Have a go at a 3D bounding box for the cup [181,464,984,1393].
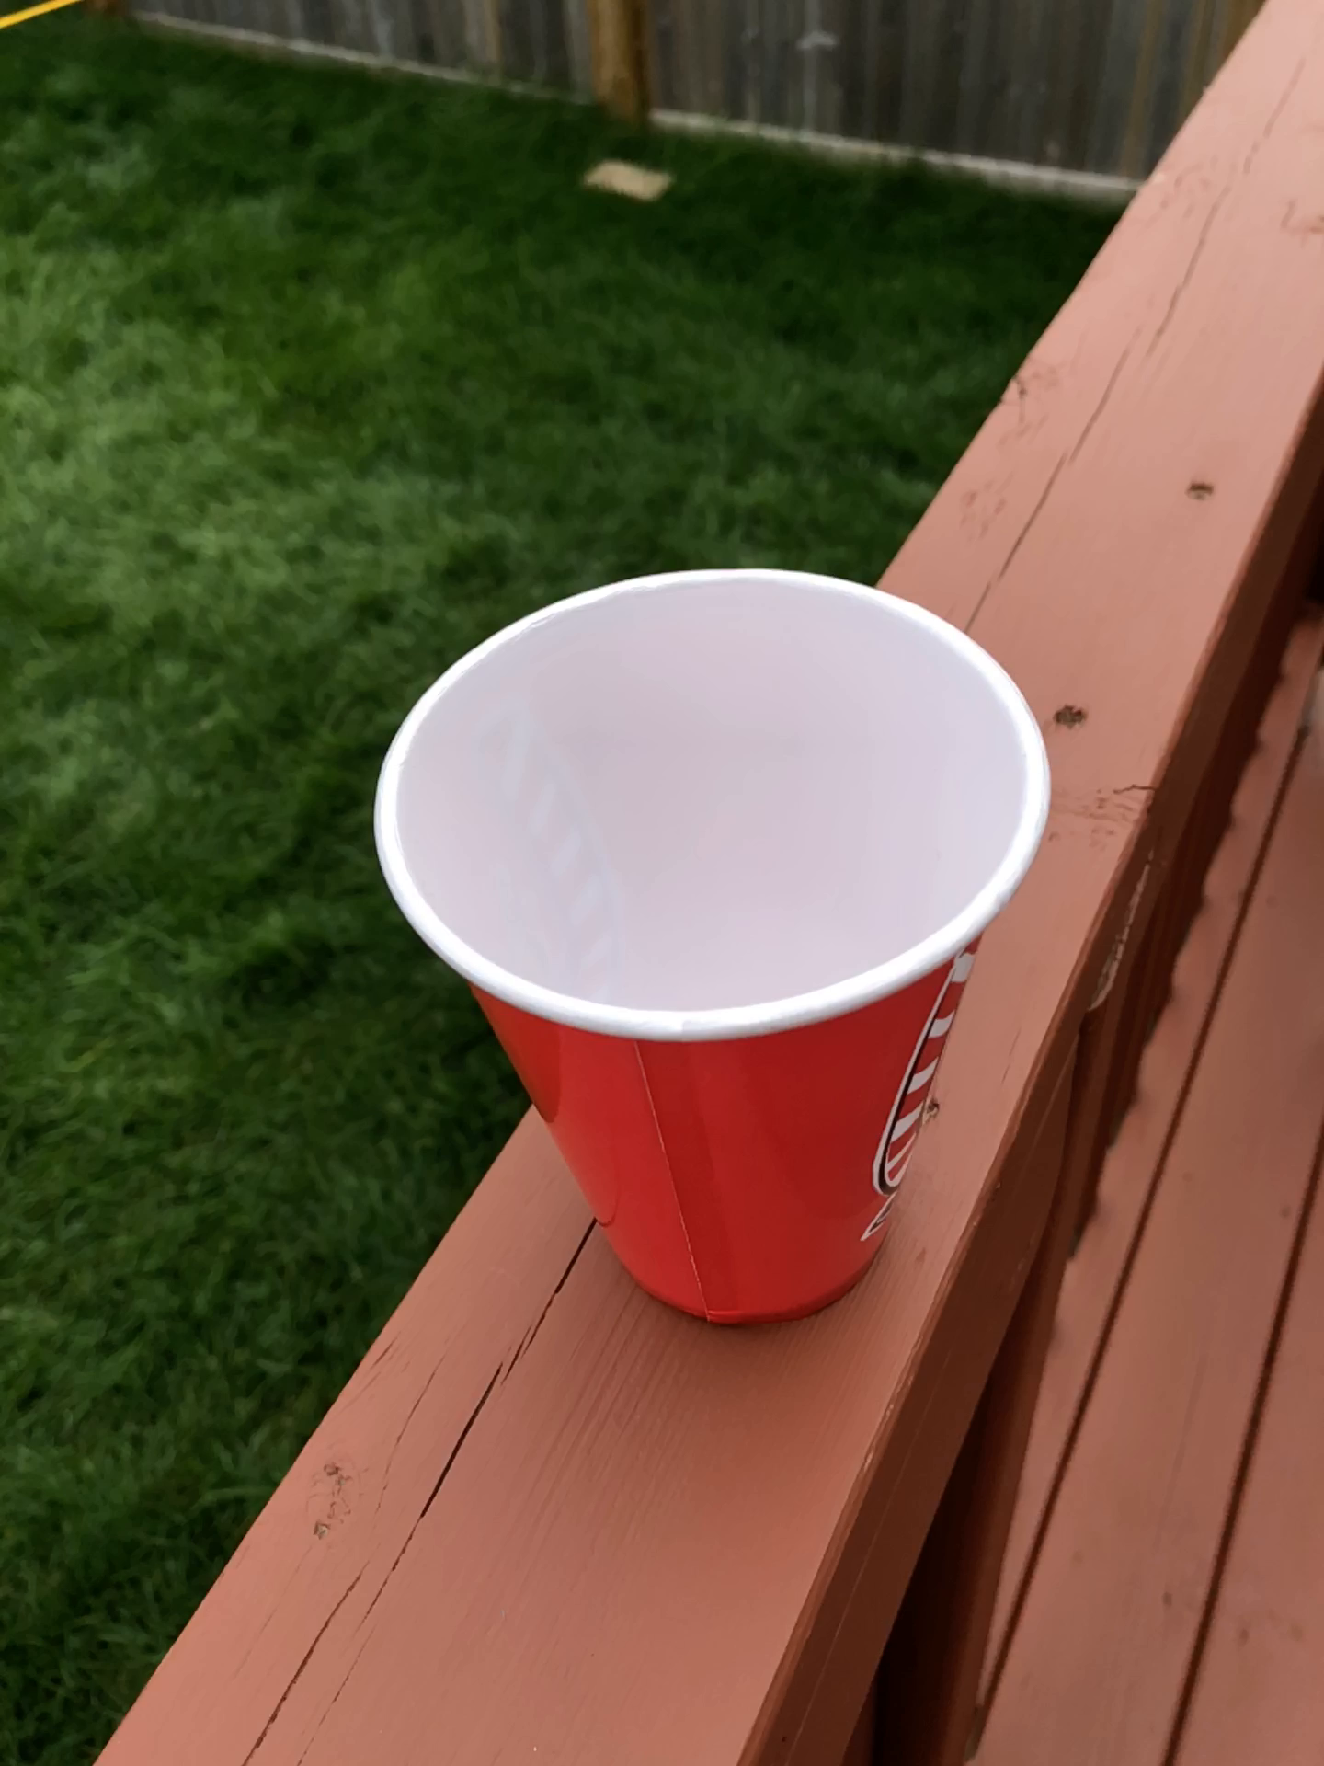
[{"bbox_3d":[-0.001,0.007,0.214,0.080,0.100,0.080,-3,47,3],"label":"cup"}]
